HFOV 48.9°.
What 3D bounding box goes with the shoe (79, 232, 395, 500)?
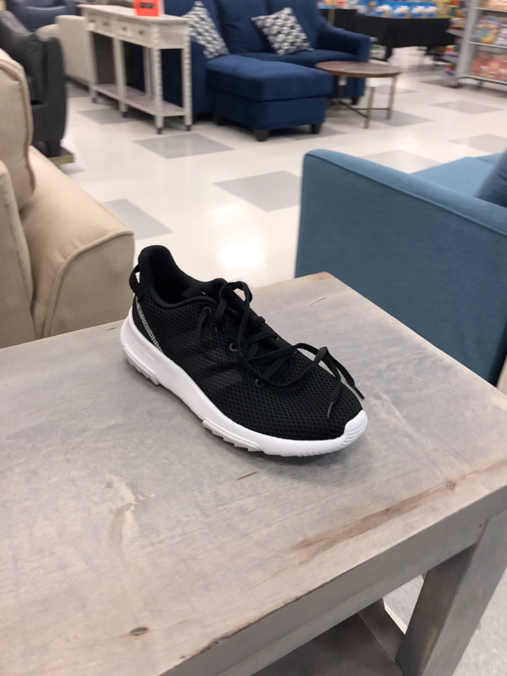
[{"bbox_3d":[-0.029,0.006,0.535,0.283,0.109,0.120,28,40,33],"label":"shoe"}]
